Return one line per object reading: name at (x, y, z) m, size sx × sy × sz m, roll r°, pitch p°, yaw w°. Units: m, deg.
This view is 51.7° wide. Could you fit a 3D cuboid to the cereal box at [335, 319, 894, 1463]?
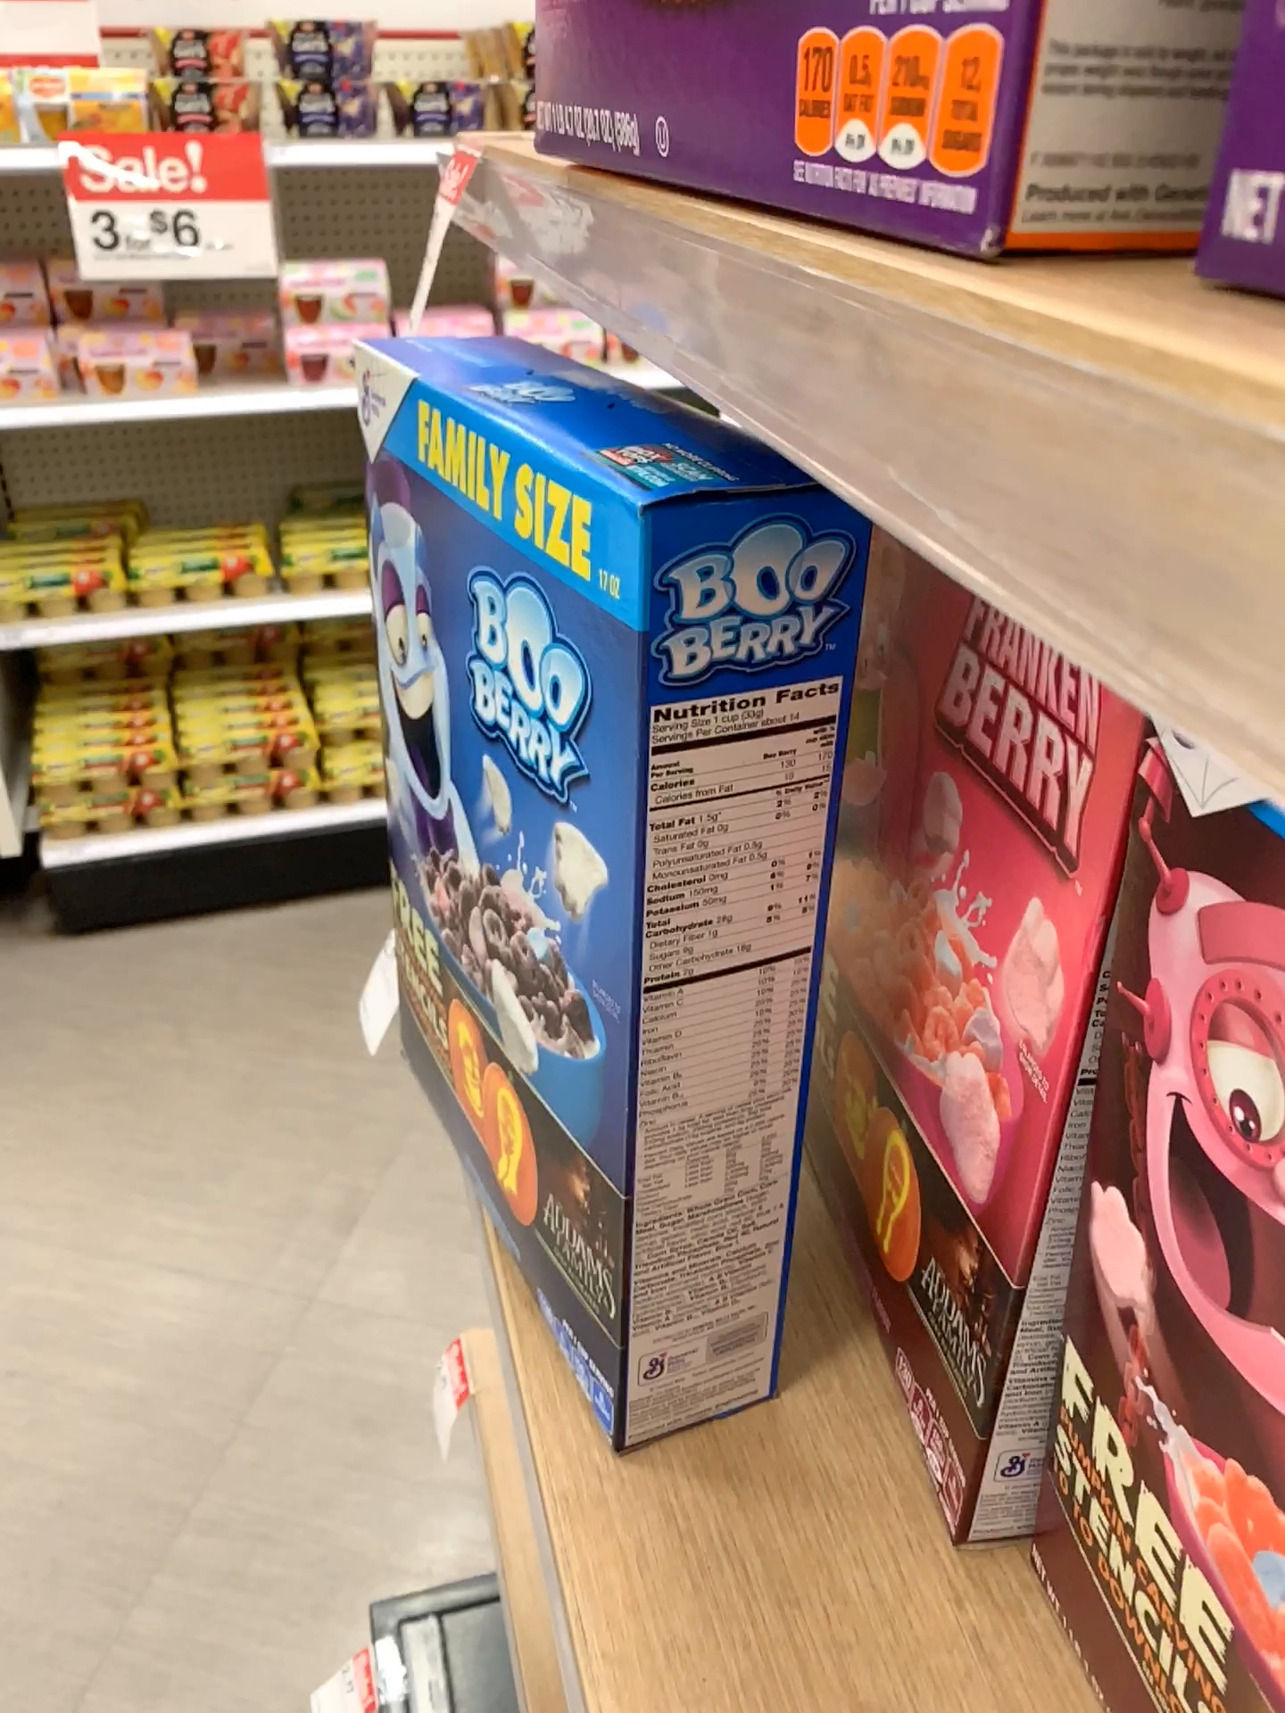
cereal box at (-0.031, -0.001, 0.454) m, size 0.060 × 0.308 × 0.241 m, roll -12°, pitch 32°, yaw -25°
